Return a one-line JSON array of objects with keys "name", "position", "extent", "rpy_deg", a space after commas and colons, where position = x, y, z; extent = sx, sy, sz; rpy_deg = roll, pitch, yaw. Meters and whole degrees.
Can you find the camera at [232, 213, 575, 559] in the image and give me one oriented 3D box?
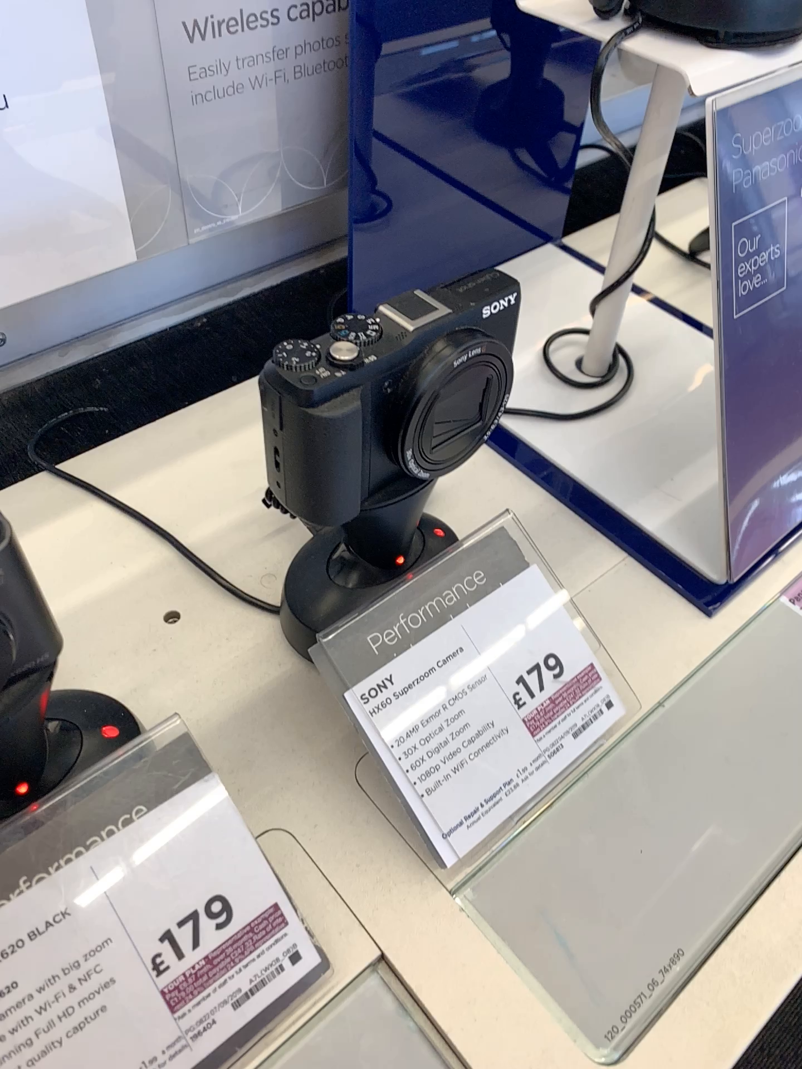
[{"name": "camera", "position": [0.003, -0.053, 0.284], "extent": [0.110, 0.069, 0.040], "rpy_deg": [-34, 58, -29]}]
